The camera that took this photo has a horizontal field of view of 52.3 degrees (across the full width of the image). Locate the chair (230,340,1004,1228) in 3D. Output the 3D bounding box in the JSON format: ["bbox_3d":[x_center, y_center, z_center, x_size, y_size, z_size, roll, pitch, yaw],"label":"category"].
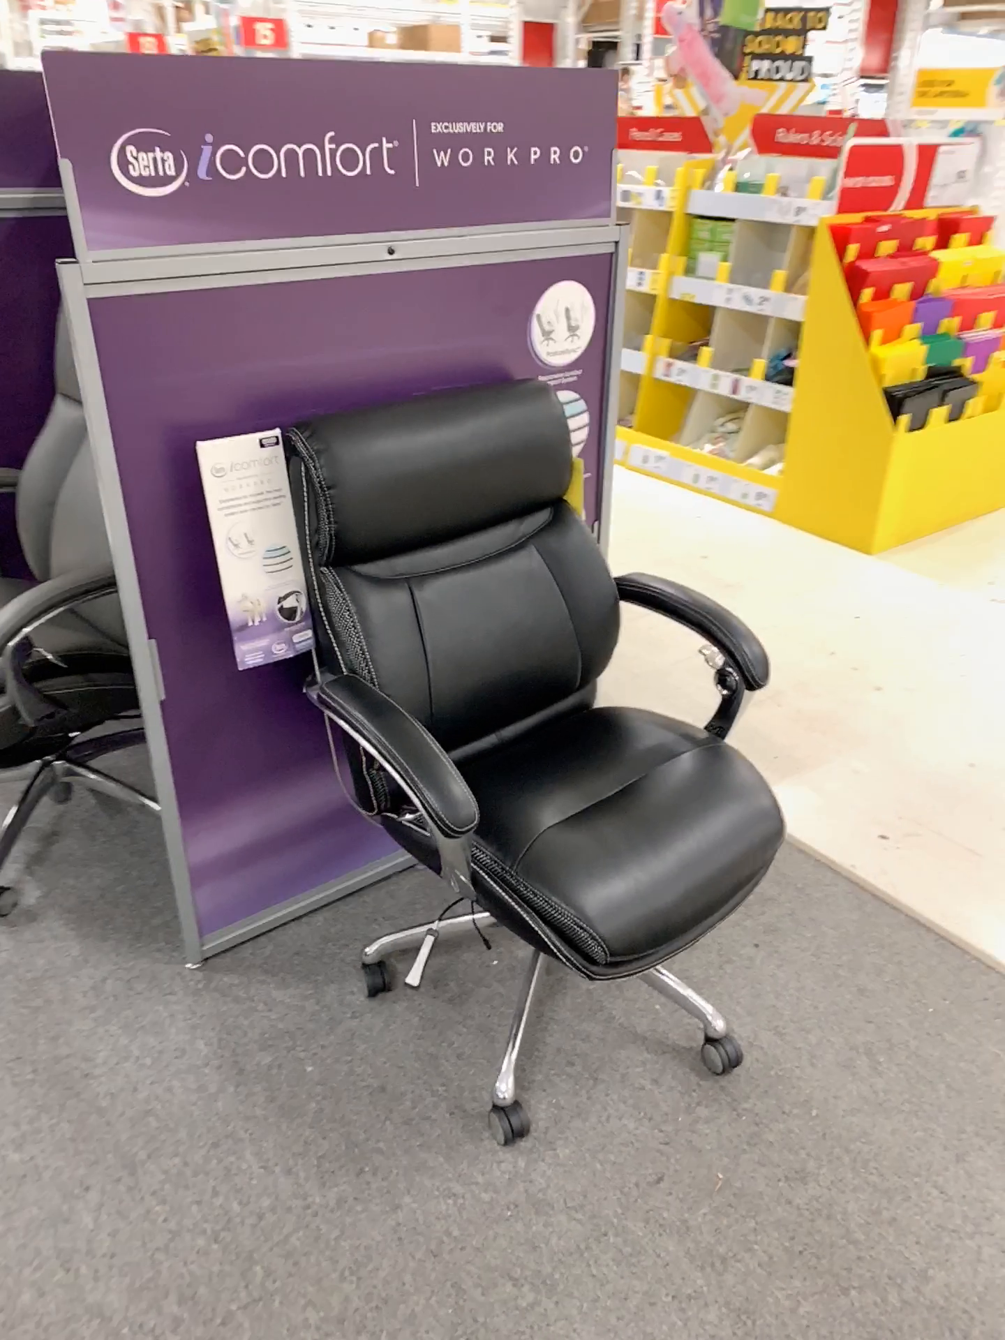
[{"bbox_3d":[0.139,0.075,1.600,0.771,0.955,0.723,-19,34,-32],"label":"chair"}]
